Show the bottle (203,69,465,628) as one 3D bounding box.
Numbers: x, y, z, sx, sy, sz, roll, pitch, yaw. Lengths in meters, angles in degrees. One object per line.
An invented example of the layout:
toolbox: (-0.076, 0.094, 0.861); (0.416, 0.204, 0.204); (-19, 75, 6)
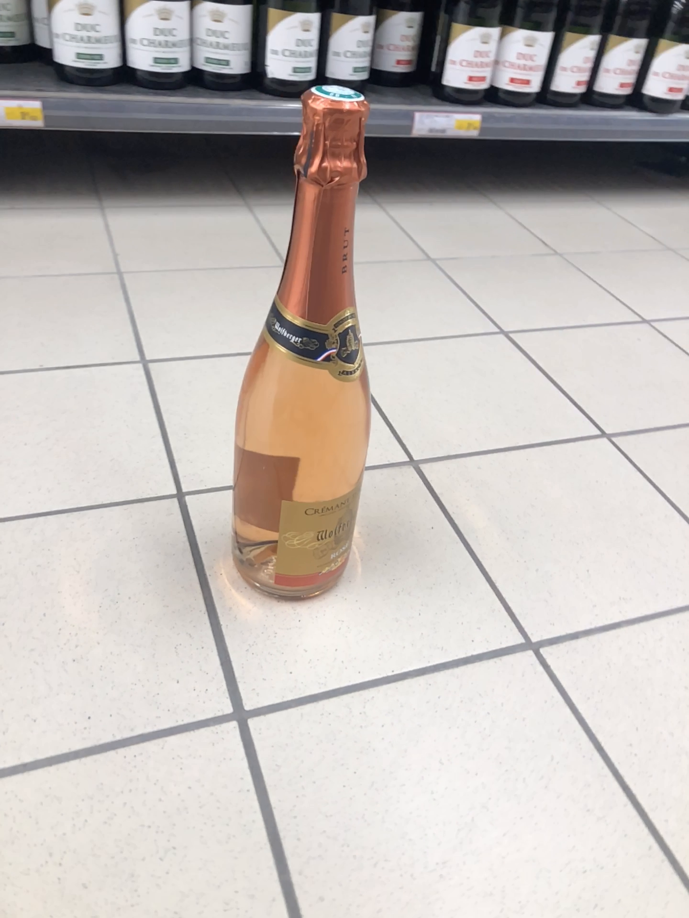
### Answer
bottle: (-0.019, -0.051, 0.454); (0.090, 0.308, 0.091); (5, 37, -4)
